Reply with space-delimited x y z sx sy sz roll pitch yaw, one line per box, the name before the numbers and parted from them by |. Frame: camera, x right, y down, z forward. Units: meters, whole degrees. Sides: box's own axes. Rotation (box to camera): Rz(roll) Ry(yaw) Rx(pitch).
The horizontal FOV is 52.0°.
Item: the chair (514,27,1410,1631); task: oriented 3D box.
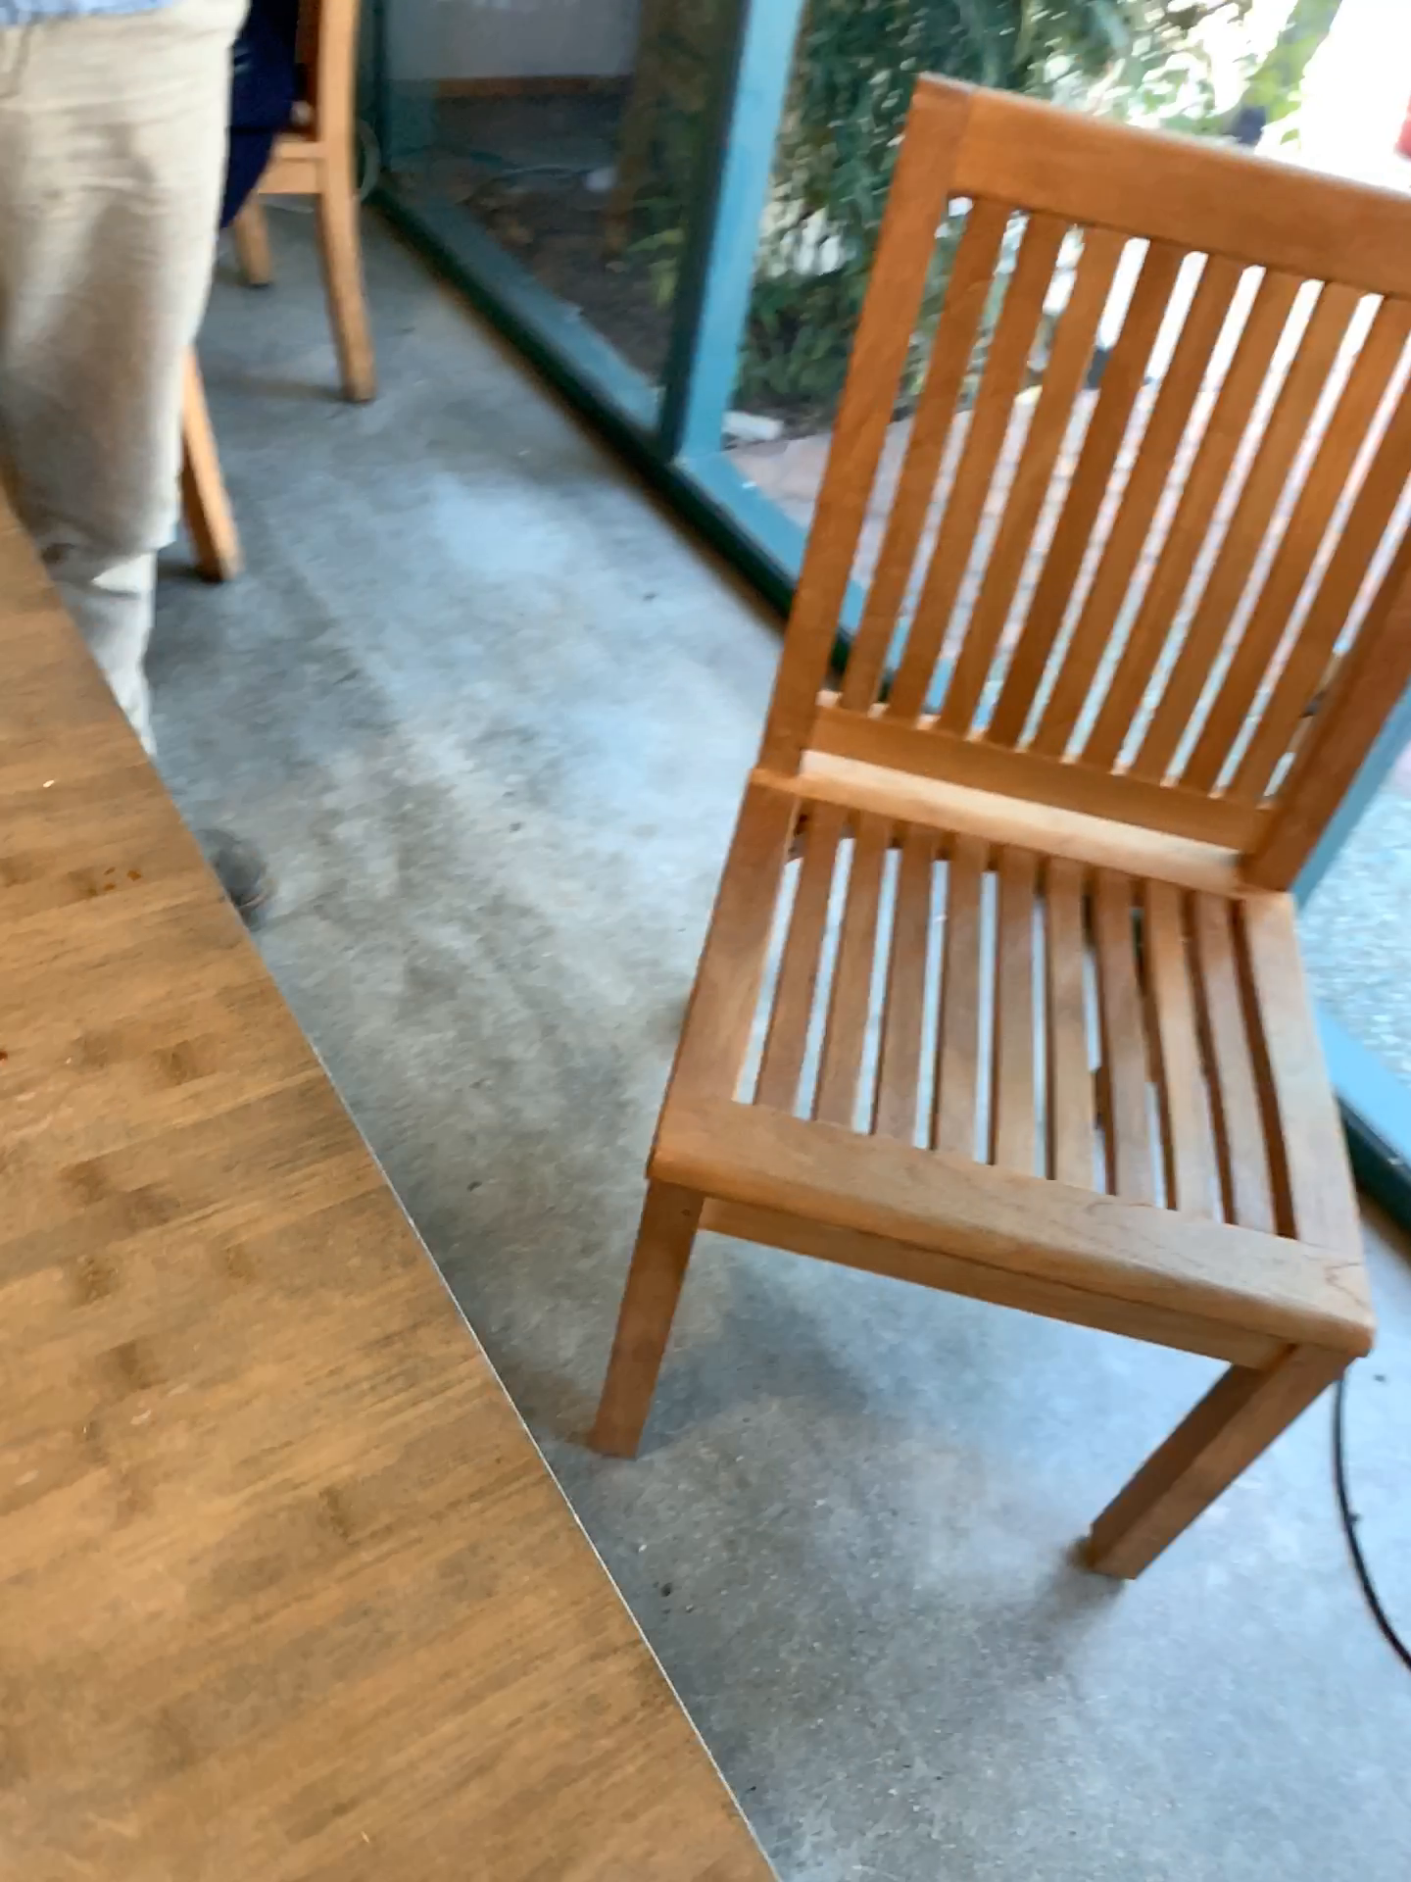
chair | 0.230 -0.027 1.078 0.530 0.915 0.613 15 45 2
